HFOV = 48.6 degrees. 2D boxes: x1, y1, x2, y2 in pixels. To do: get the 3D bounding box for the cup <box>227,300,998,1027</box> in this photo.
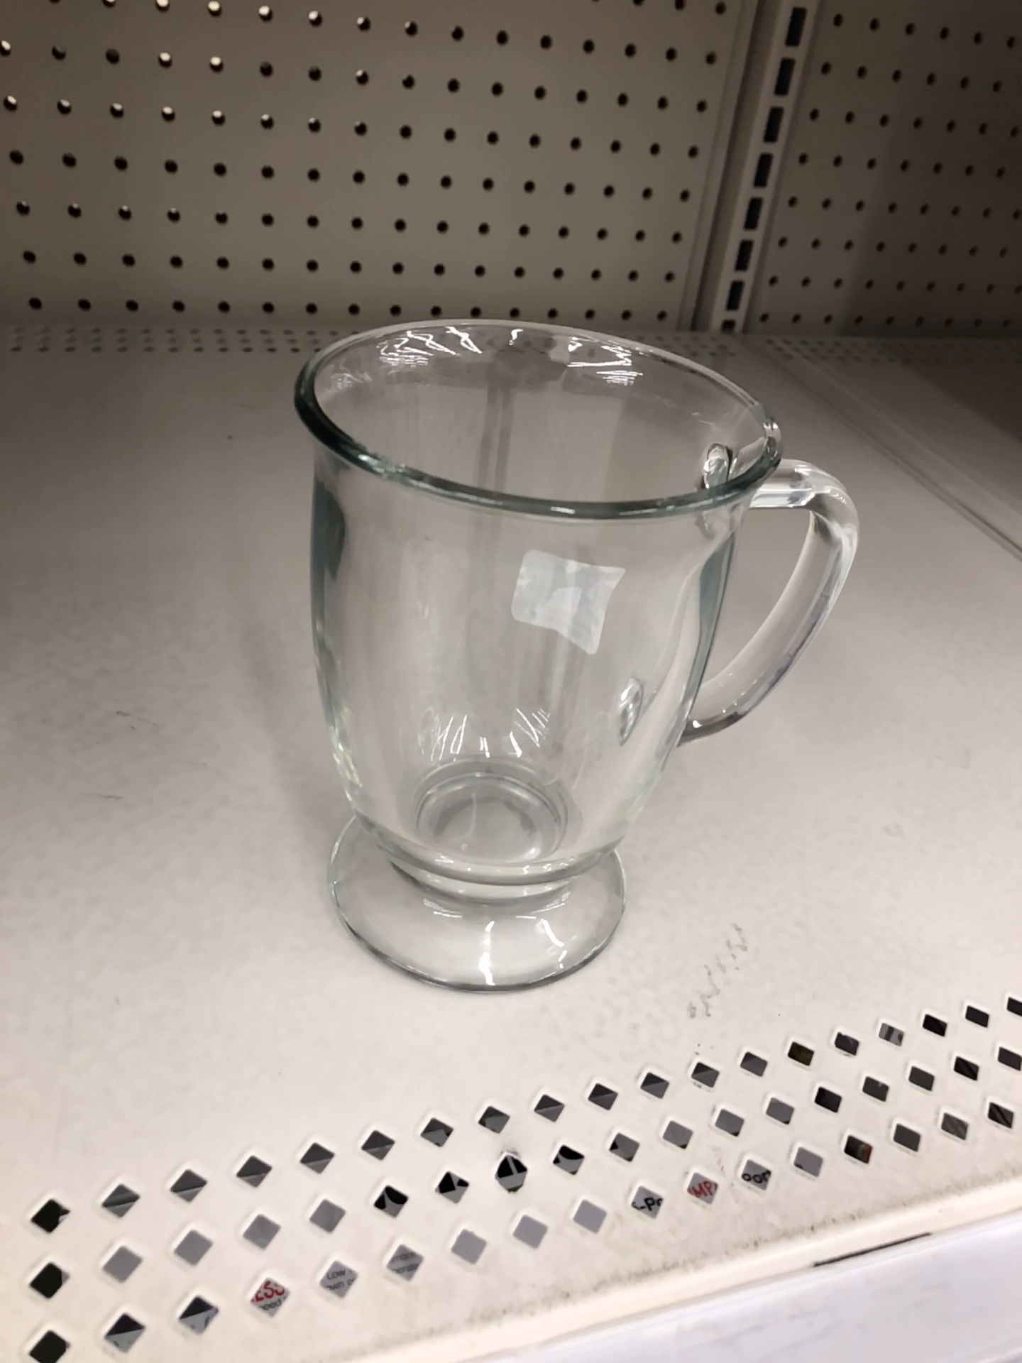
[{"bbox_3d":[0.008,-0.012,0.281,0.138,0.128,0.110,-5,36,-17],"label":"cup"}]
